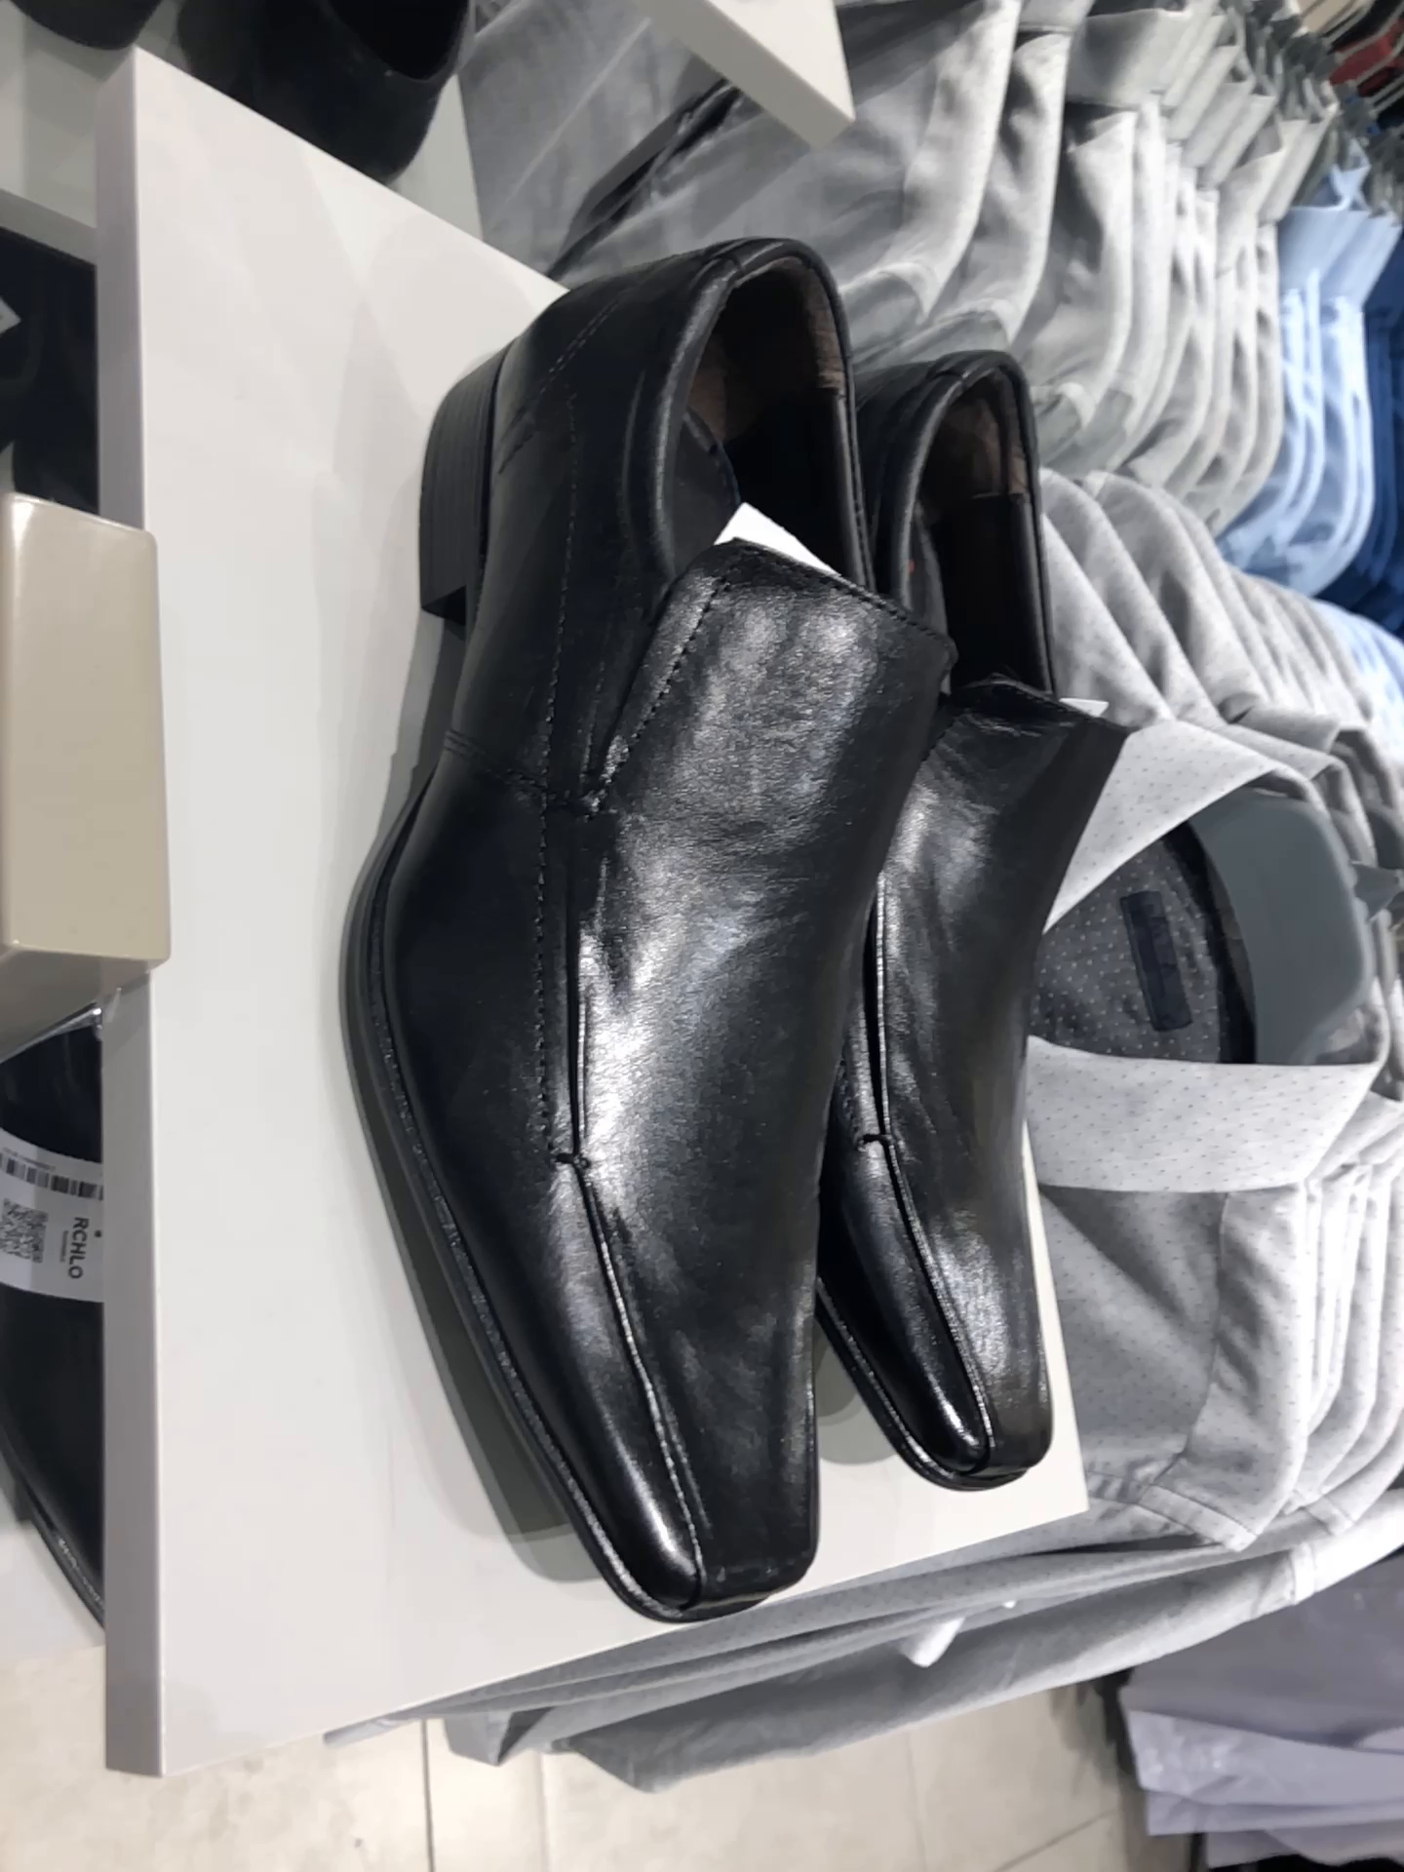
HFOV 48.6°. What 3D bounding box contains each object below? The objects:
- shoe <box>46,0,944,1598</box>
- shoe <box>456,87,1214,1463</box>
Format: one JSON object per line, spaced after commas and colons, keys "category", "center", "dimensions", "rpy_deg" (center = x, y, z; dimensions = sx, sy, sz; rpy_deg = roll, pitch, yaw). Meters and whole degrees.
{"category": "shoe", "center": [-0.046, -0.040, 0.305], "dimensions": [0.111, 0.099, 0.300], "rpy_deg": [12, 65, -43]}
{"category": "shoe", "center": [0.022, -0.030, 0.367], "dimensions": [0.111, 0.099, 0.280], "rpy_deg": [12, 65, -43]}
